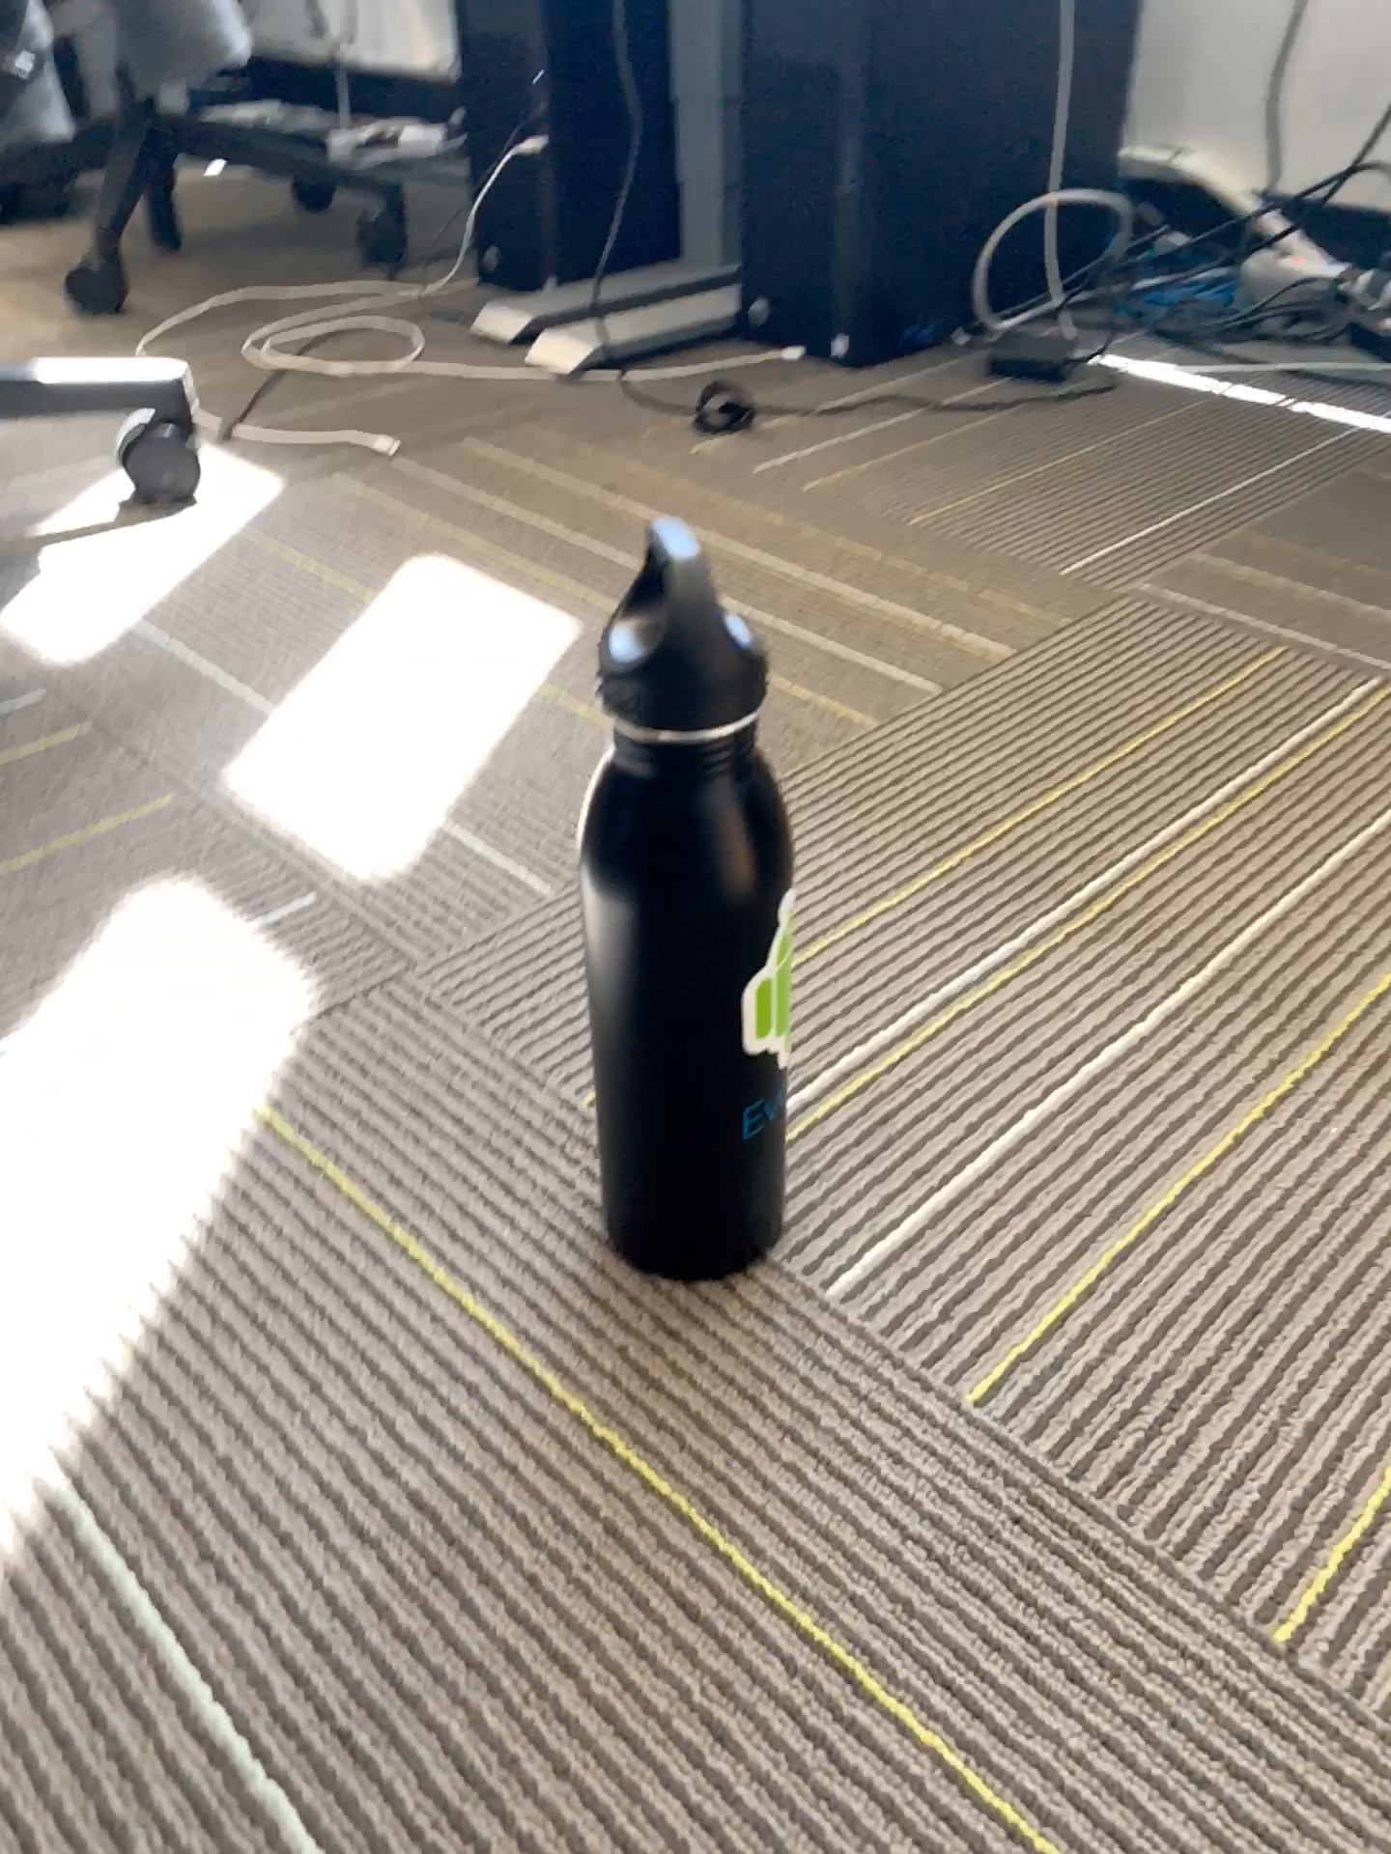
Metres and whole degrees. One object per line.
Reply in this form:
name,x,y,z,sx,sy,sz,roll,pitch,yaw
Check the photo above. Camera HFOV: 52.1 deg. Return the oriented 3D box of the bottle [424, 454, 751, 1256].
bottle,-0.024,-0.013,0.460,0.080,0.248,0.091,1,36,2
